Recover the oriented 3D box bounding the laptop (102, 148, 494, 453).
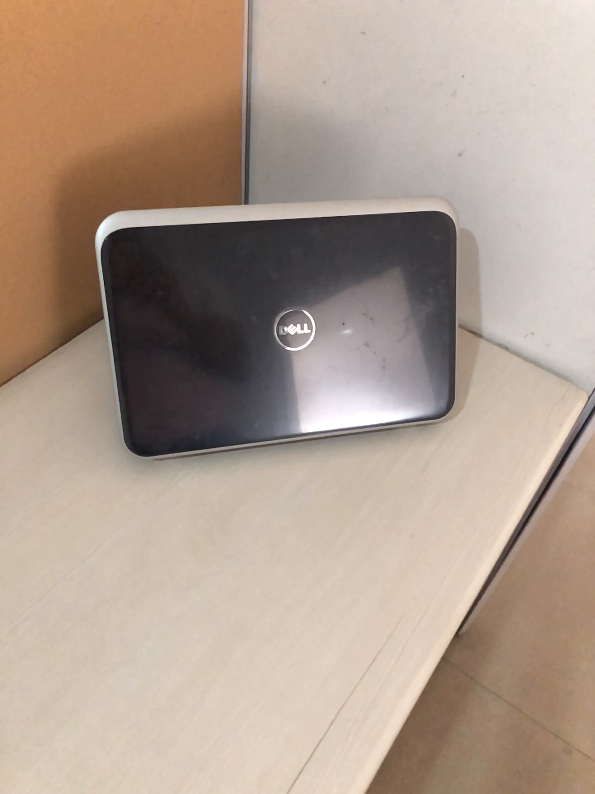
[{"bbox_3d":[-0.018,-0.117,0.709,0.348,0.192,0.241,-6,48,-13],"label":"laptop"}]
